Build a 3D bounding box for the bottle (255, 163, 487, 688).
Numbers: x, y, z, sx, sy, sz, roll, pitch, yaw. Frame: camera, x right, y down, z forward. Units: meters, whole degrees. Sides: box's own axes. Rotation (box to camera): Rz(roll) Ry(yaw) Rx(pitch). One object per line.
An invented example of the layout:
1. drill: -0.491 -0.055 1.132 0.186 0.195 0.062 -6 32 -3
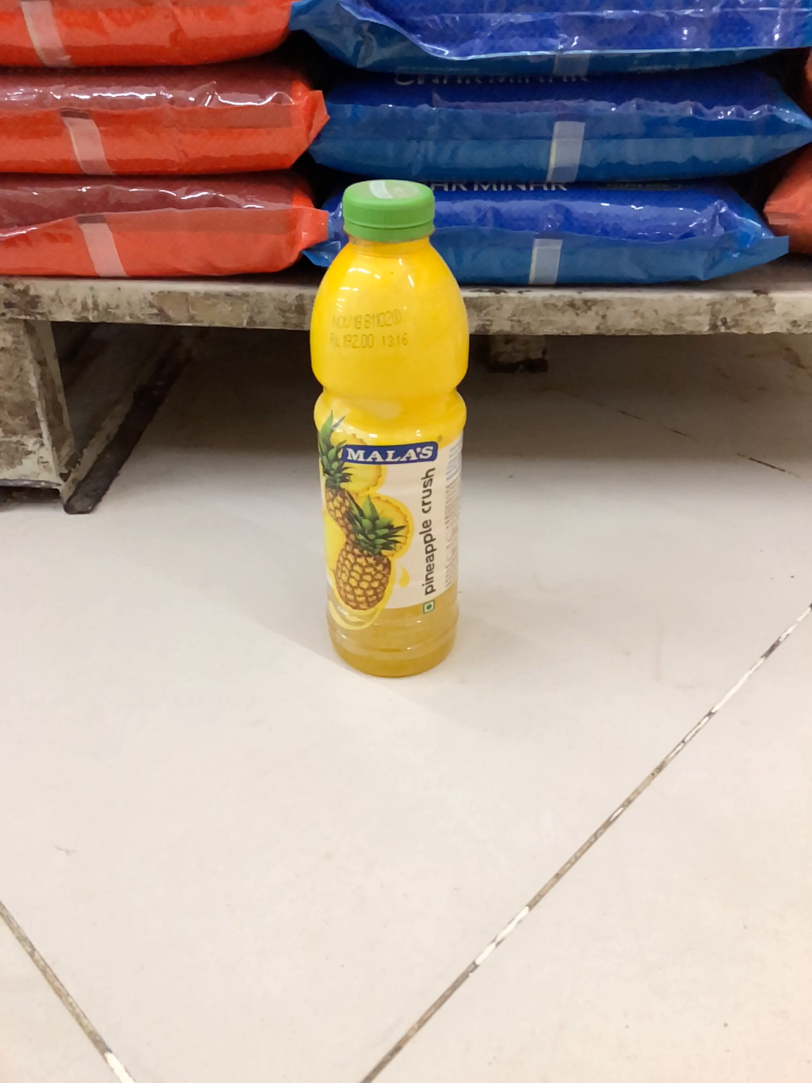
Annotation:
1. bottle: -0.014 -0.050 0.455 0.090 0.248 0.091 0 35 0
